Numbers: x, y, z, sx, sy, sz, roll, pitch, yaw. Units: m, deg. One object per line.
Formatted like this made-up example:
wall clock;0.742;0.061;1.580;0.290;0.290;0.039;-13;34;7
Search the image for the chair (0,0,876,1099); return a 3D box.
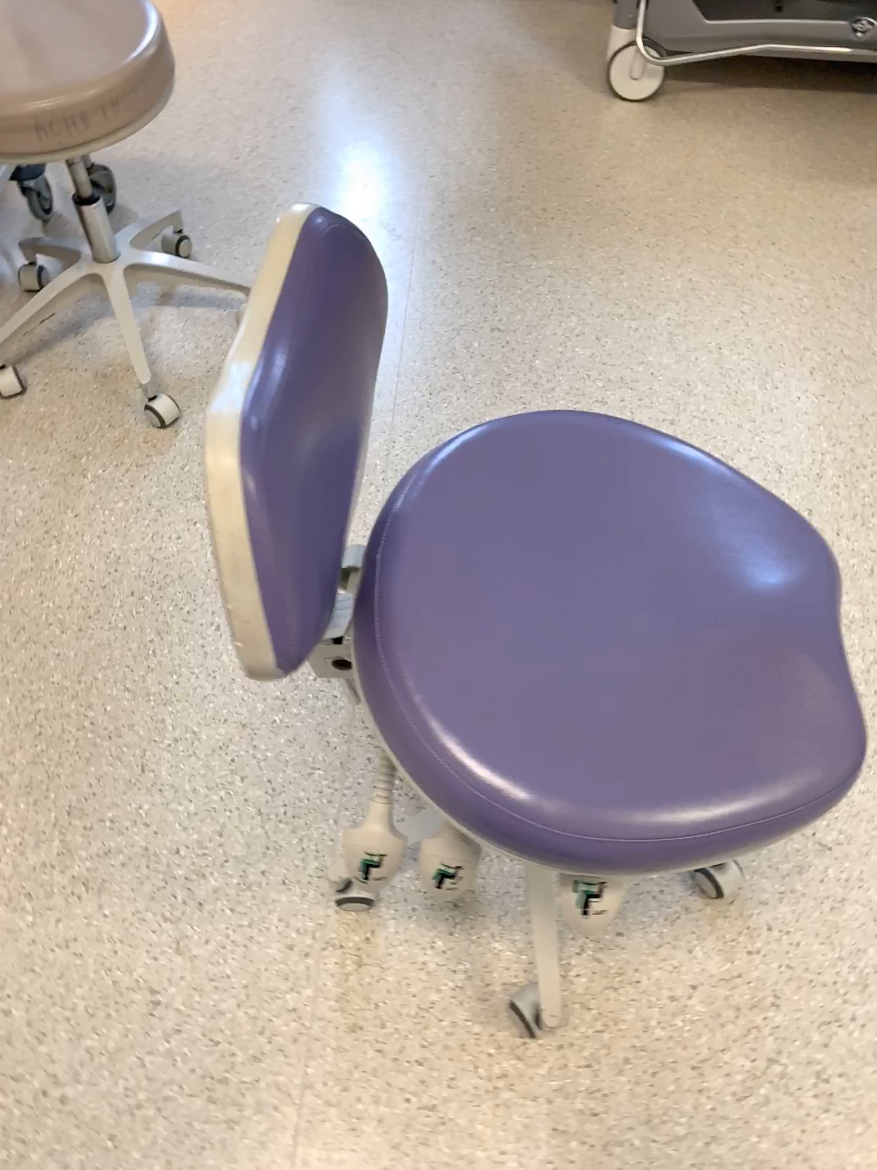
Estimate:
chair;0.142;0.060;0.808;0.650;0.824;0.604;5;57;2
